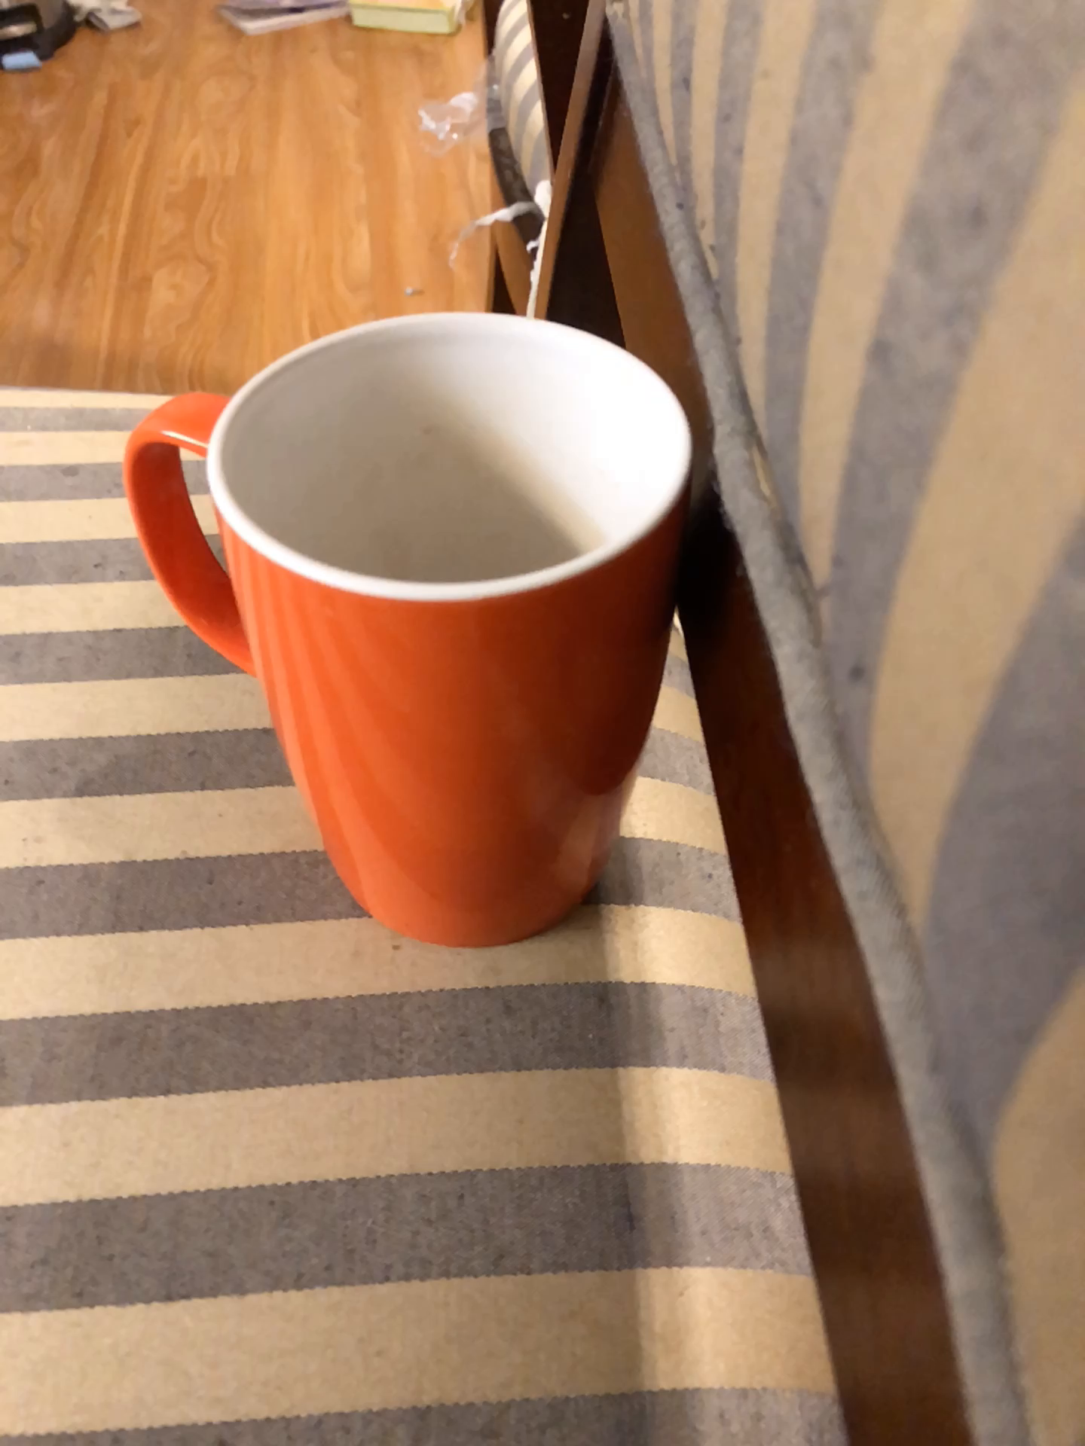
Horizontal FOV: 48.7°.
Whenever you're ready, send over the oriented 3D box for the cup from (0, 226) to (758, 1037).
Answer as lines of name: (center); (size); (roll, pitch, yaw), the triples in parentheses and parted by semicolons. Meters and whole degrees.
cup: (-0.033, -0.020, 0.236); (0.120, 0.099, 0.090); (15, 51, 14)
